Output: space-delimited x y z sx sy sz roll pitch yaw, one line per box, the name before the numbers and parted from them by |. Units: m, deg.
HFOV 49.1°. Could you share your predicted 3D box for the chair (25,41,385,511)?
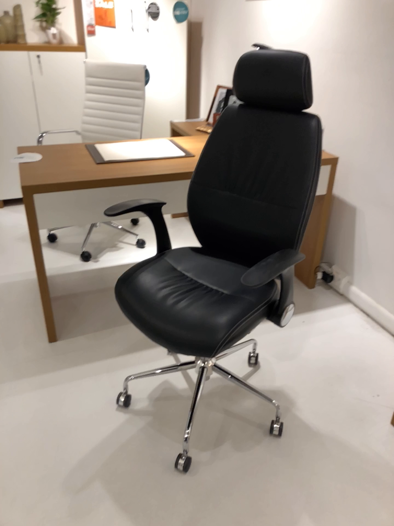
chair | 0.024 -0.012 1.504 0.692 1.300 0.713 25 38 35
